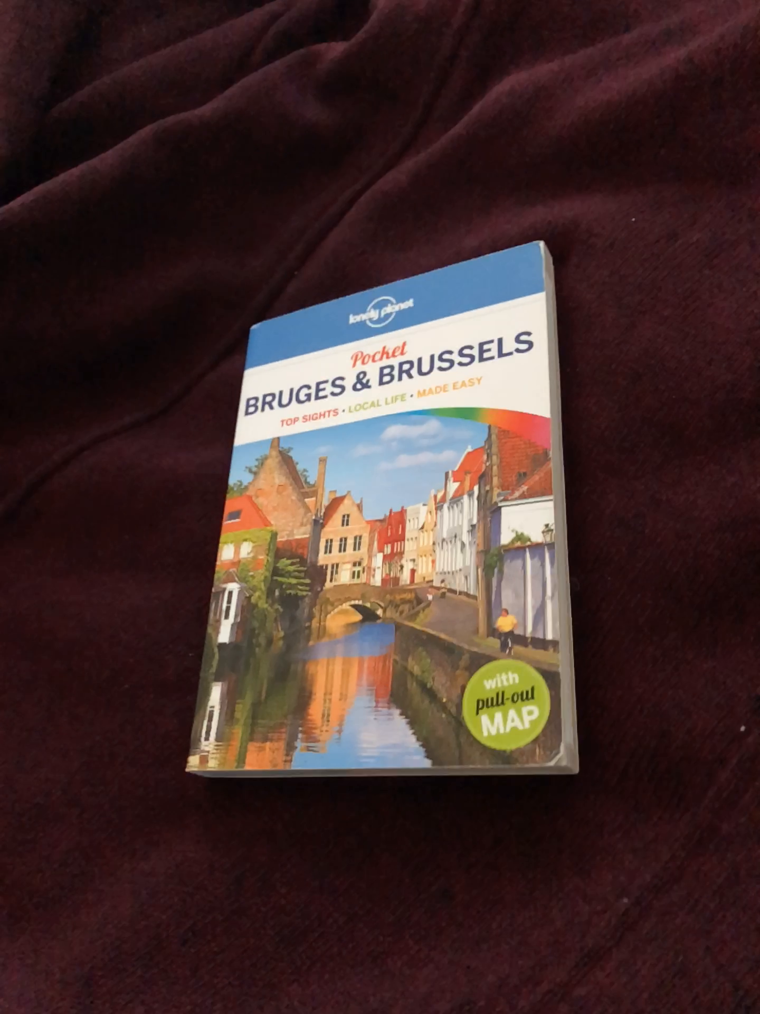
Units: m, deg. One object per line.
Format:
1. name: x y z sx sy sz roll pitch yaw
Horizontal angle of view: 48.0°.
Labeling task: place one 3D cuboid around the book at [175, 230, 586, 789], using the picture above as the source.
1. book: 0.000 -0.001 0.252 0.110 0.016 0.158 -10 62 25
